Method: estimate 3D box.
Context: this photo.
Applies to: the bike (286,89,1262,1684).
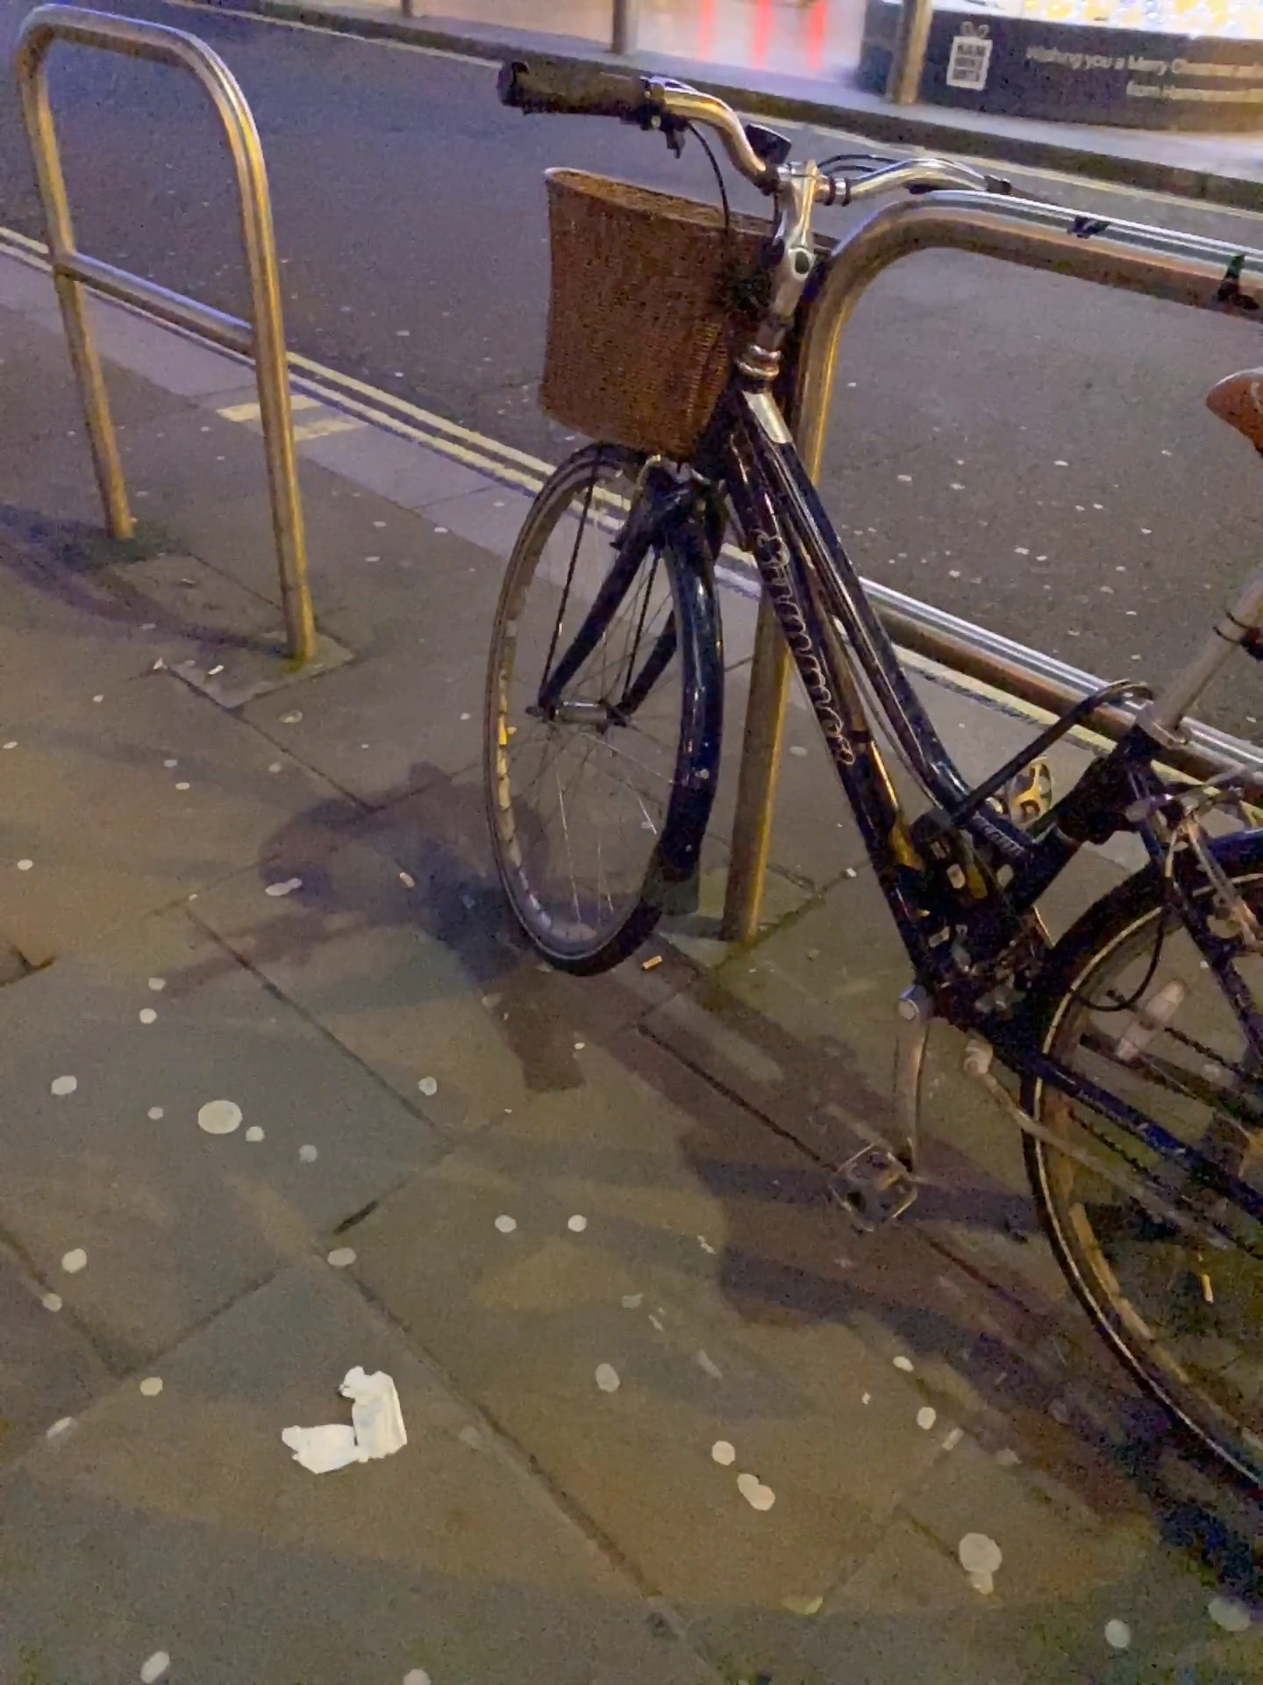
[{"bbox_3d":[0.393,-0.074,1.325,0.661,1.063,1.716,-24,43,-32],"label":"bike"}]
